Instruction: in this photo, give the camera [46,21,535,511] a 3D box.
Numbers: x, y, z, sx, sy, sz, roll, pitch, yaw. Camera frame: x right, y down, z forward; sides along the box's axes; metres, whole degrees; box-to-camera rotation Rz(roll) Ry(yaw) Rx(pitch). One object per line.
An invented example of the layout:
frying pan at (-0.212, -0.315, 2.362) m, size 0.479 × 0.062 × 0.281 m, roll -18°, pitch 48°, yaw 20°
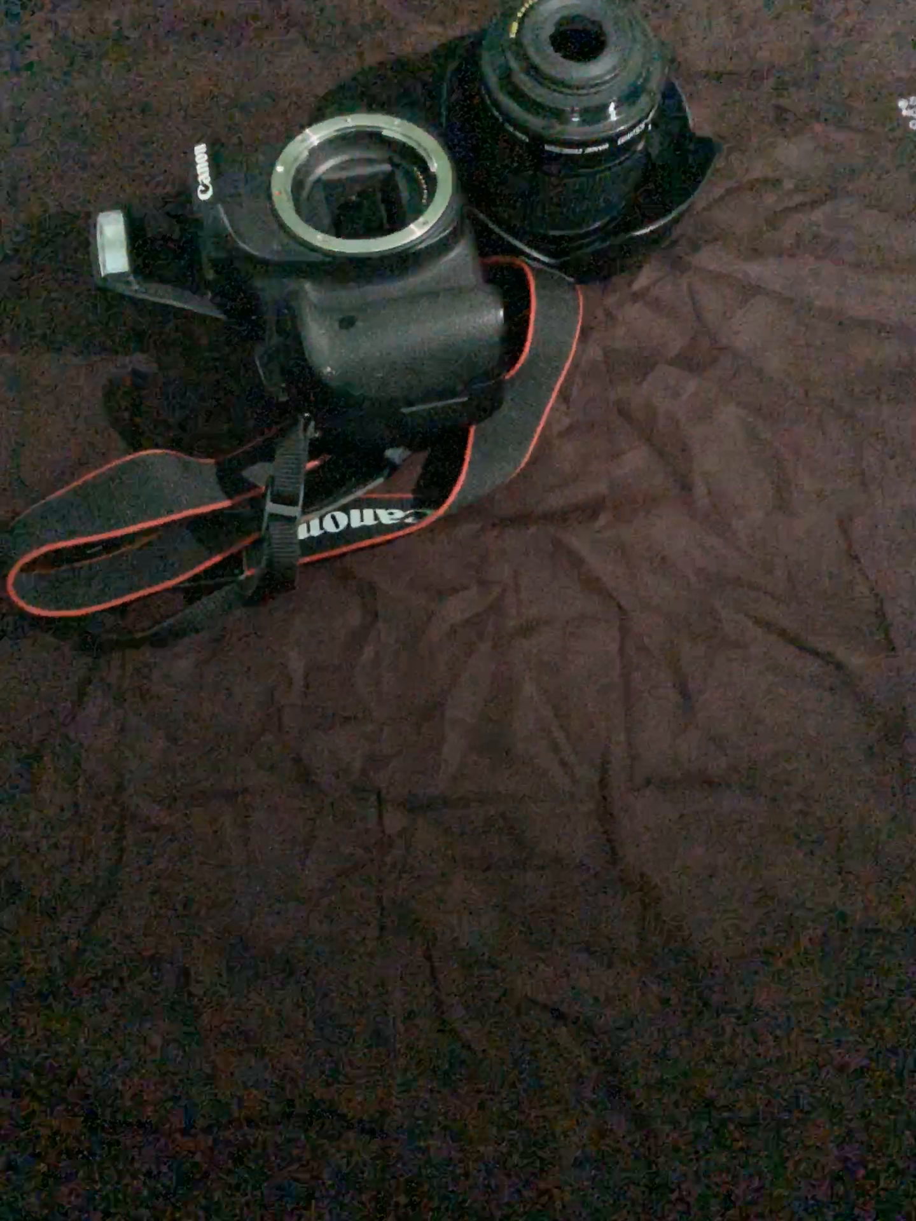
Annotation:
camera at (-0.066, -0.137, 0.372) m, size 0.150 × 0.082 × 0.147 m, roll -12°, pitch 65°, yaw -7°
